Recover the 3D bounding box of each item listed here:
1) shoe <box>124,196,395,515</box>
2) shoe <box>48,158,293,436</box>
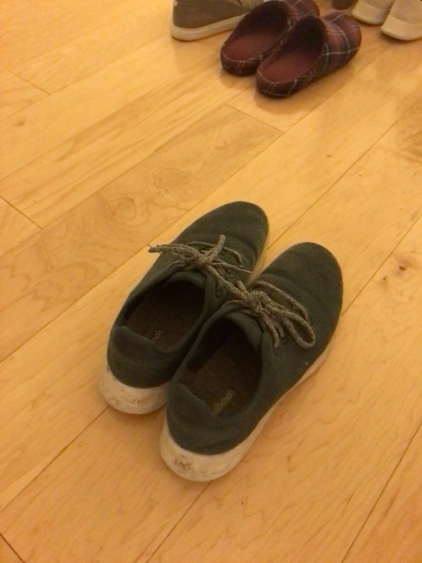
[{"bbox_3d":[0.064,0.057,0.476,0.100,0.099,0.322,31,58,21],"label":"shoe"},{"bbox_3d":[-0.025,0.000,0.522,0.100,0.099,0.312,26,57,18],"label":"shoe"}]
